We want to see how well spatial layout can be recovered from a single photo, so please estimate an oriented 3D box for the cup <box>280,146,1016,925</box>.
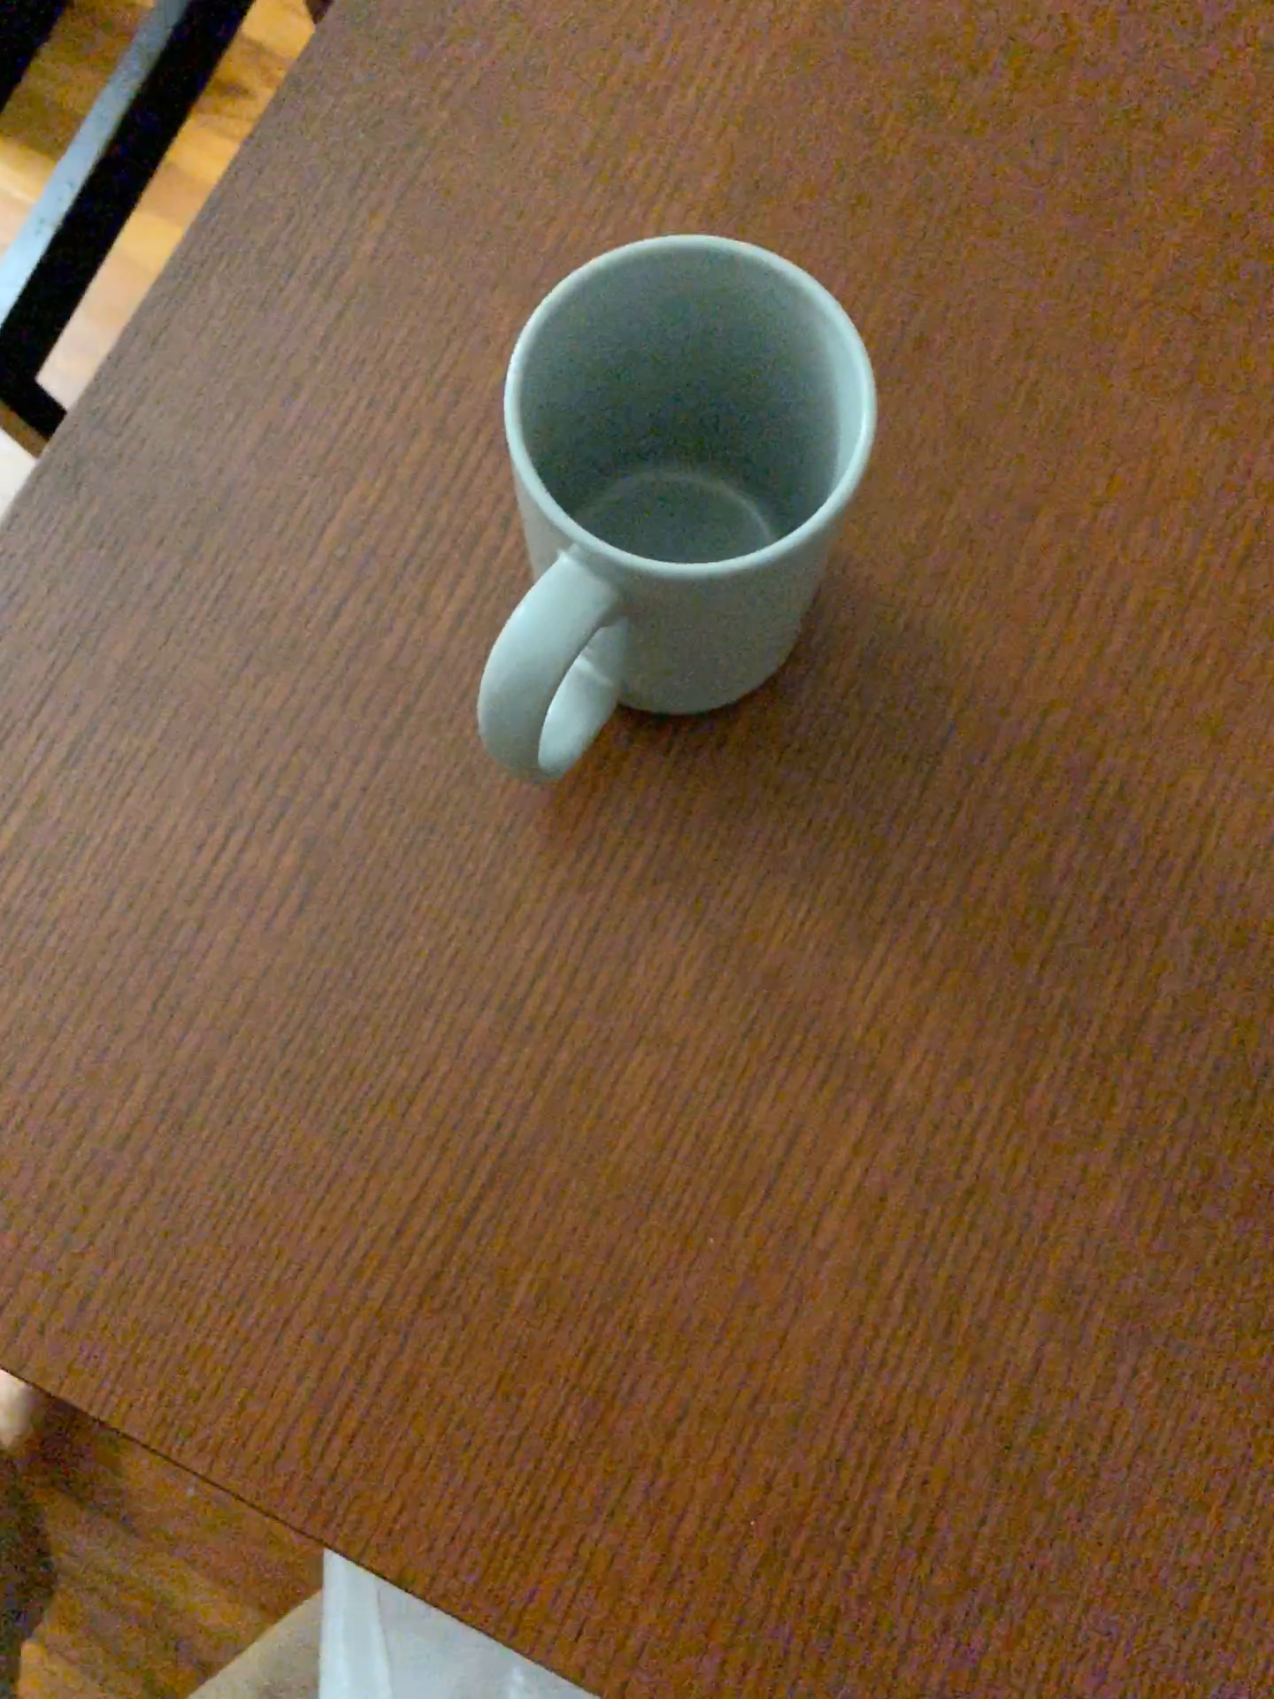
[{"bbox_3d":[0.003,-0.072,0.351,0.100,0.110,0.140,39,81,6],"label":"cup"}]
